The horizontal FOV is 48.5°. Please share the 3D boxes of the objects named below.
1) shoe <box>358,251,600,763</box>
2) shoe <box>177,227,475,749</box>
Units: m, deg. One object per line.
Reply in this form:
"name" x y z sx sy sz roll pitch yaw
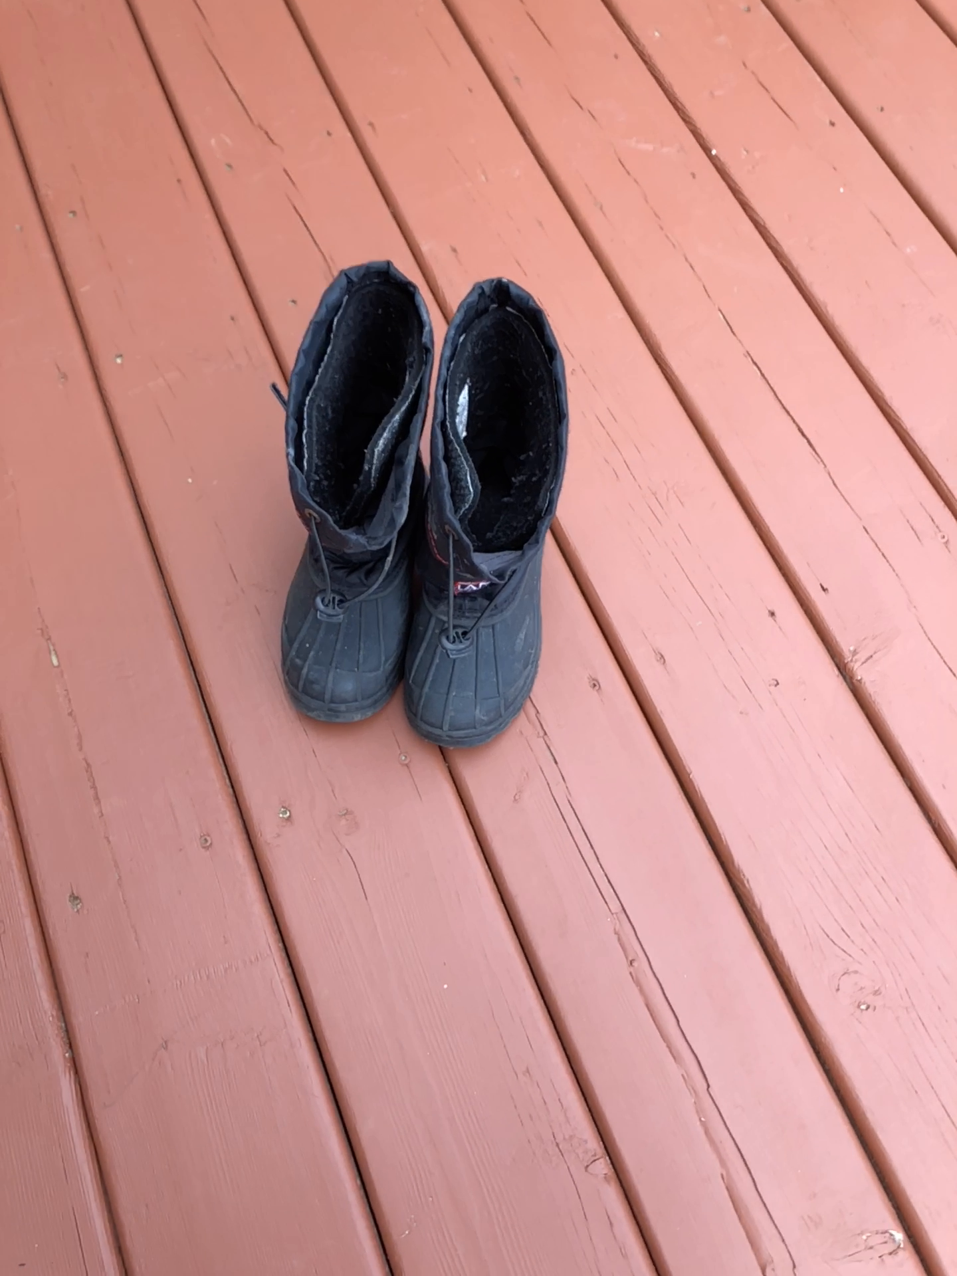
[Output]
"shoe" 0.006 -0.064 0.637 0.100 0.230 0.210 5 67 3
"shoe" -0.072 -0.076 0.641 0.100 0.230 0.210 9 67 5
